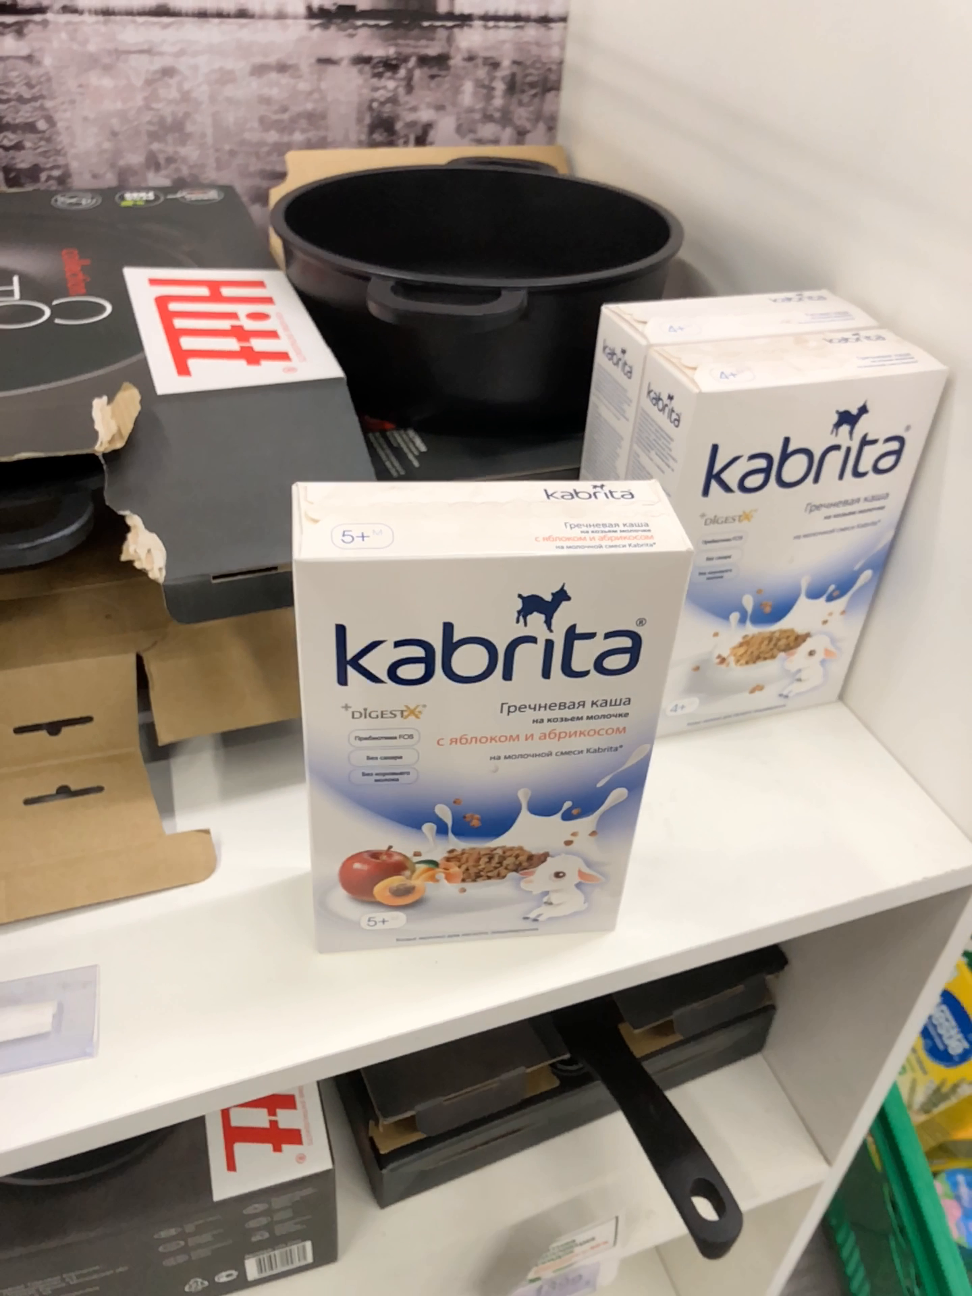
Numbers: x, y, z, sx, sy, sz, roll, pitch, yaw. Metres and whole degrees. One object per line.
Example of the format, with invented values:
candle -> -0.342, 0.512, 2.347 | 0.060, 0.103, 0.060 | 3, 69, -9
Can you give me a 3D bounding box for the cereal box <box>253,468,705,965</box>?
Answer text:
cereal box -> -0.010, 0.033, 0.410 | 0.140, 0.199, 0.050 | -2, 38, -9
